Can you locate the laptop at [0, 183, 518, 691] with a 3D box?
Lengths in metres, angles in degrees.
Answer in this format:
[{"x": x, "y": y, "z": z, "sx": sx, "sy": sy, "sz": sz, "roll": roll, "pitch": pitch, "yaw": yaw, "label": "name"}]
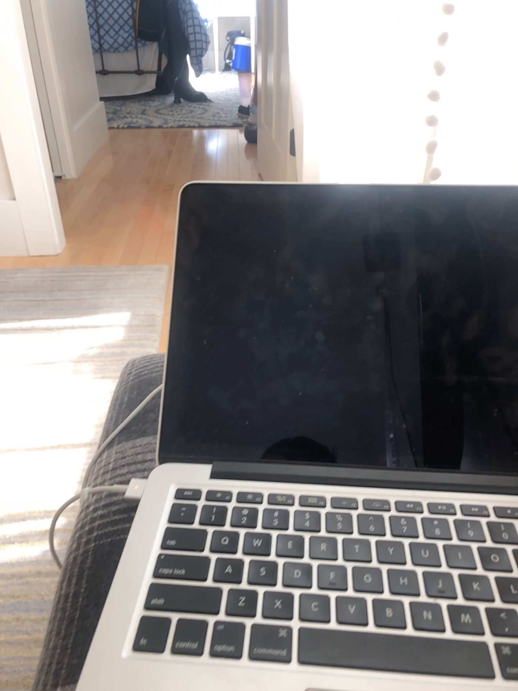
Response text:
[{"x": 0.080, "y": 0.039, "z": 0.308, "sx": 0.306, "sy": 0.142, "sz": 0.369, "roll": 2, "pitch": 33, "yaw": 5, "label": "laptop"}]
